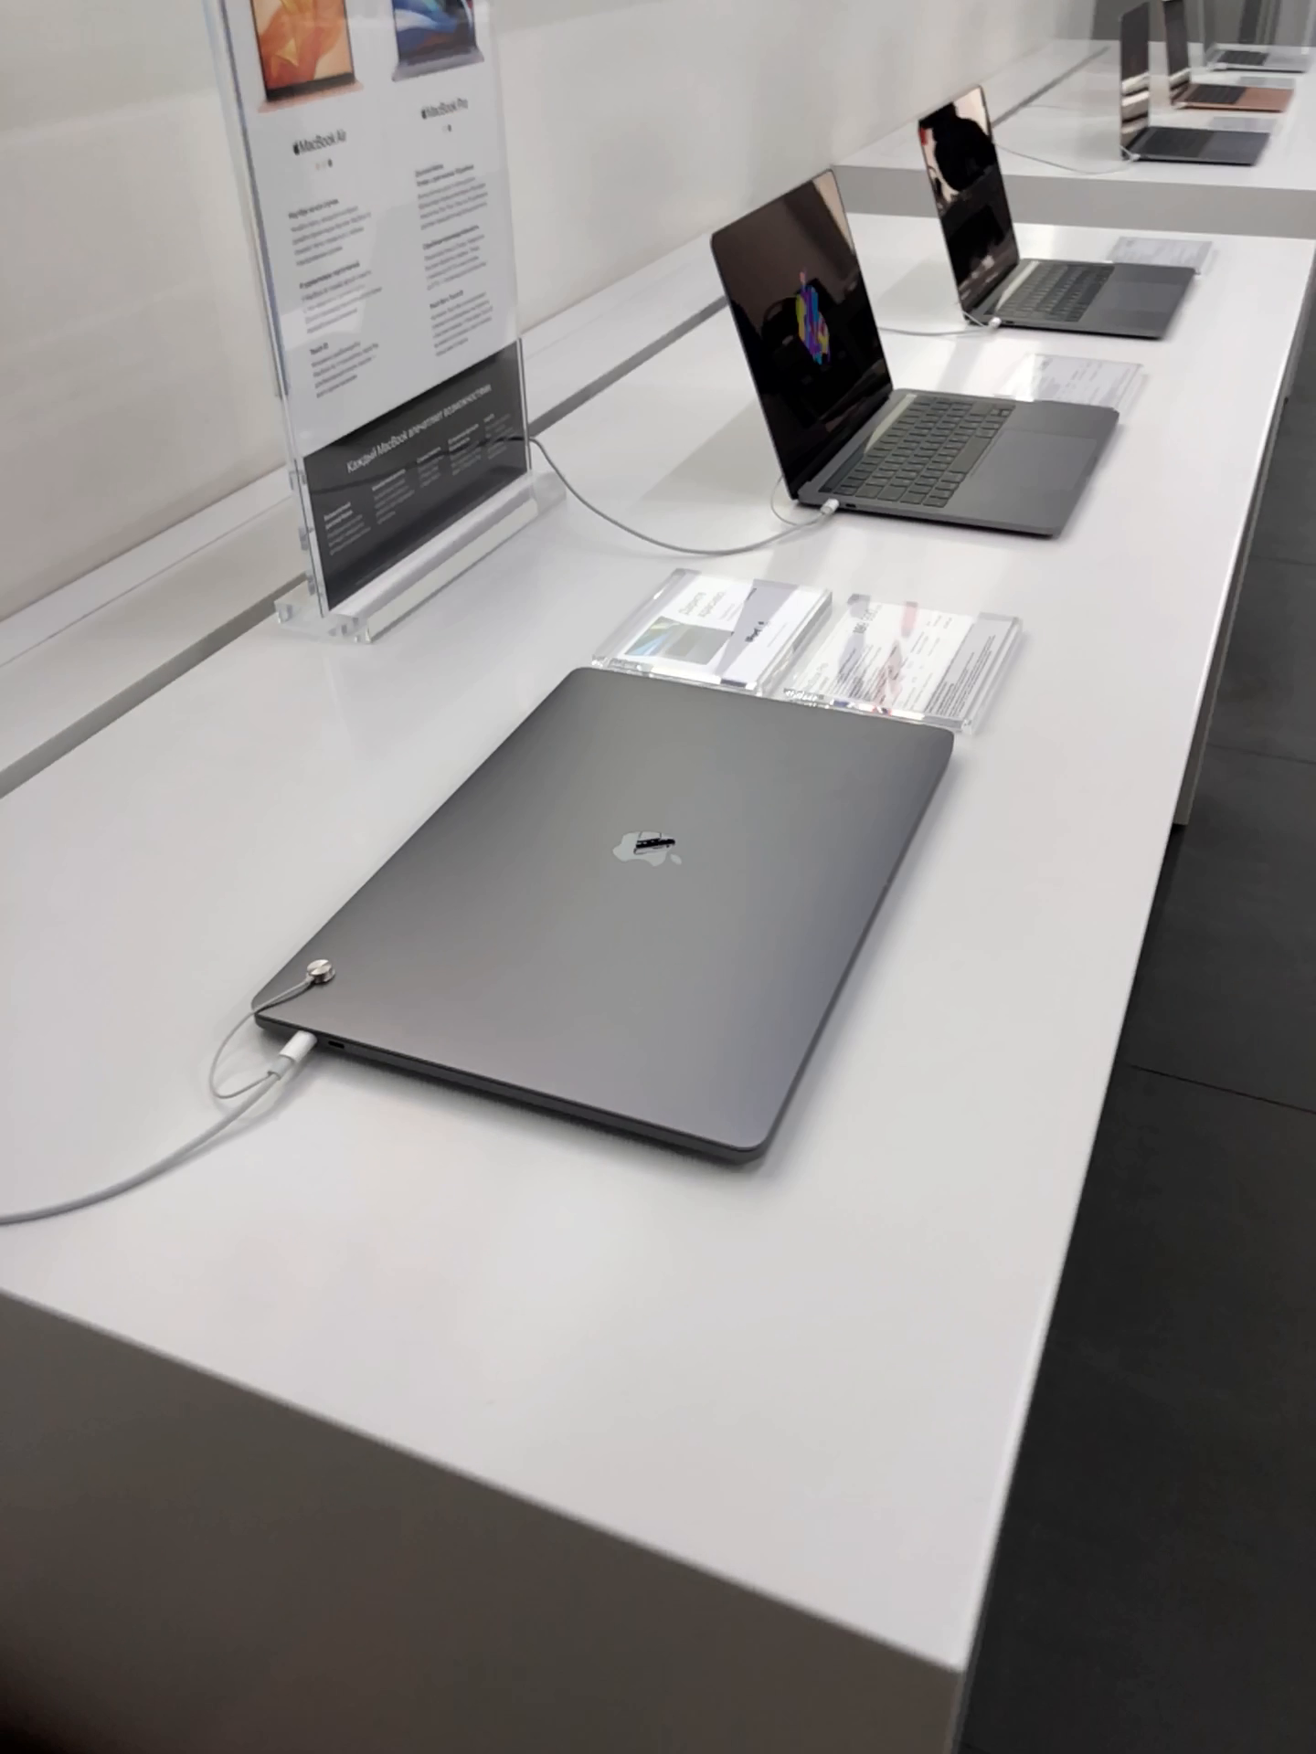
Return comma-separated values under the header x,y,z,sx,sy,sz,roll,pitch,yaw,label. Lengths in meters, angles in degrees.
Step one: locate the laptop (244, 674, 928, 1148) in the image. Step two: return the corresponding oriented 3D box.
x,y,z,sx,sy,sz,roll,pitch,yaw,label
-0.014,-0.010,0.740,0.231,0.003,0.346,13,37,18,laptop
